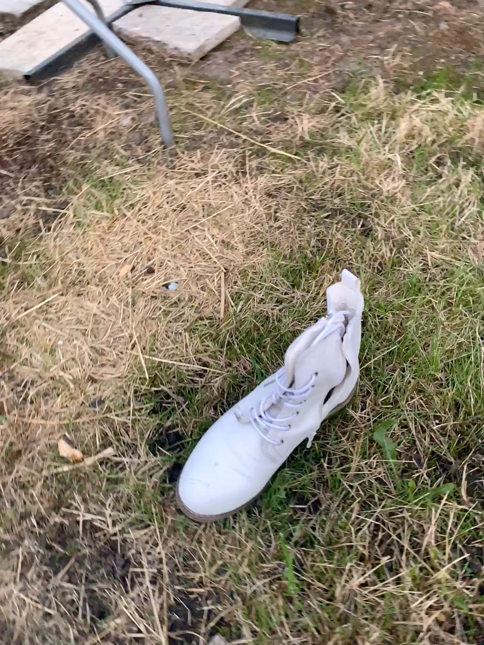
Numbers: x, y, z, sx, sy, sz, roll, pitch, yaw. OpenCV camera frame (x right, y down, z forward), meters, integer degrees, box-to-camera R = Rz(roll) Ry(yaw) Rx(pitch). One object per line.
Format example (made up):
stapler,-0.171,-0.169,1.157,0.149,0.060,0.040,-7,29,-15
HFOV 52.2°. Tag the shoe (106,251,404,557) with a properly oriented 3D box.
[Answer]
shoe,0.024,0.081,0.501,0.261,0.179,0.101,-36,57,-22
